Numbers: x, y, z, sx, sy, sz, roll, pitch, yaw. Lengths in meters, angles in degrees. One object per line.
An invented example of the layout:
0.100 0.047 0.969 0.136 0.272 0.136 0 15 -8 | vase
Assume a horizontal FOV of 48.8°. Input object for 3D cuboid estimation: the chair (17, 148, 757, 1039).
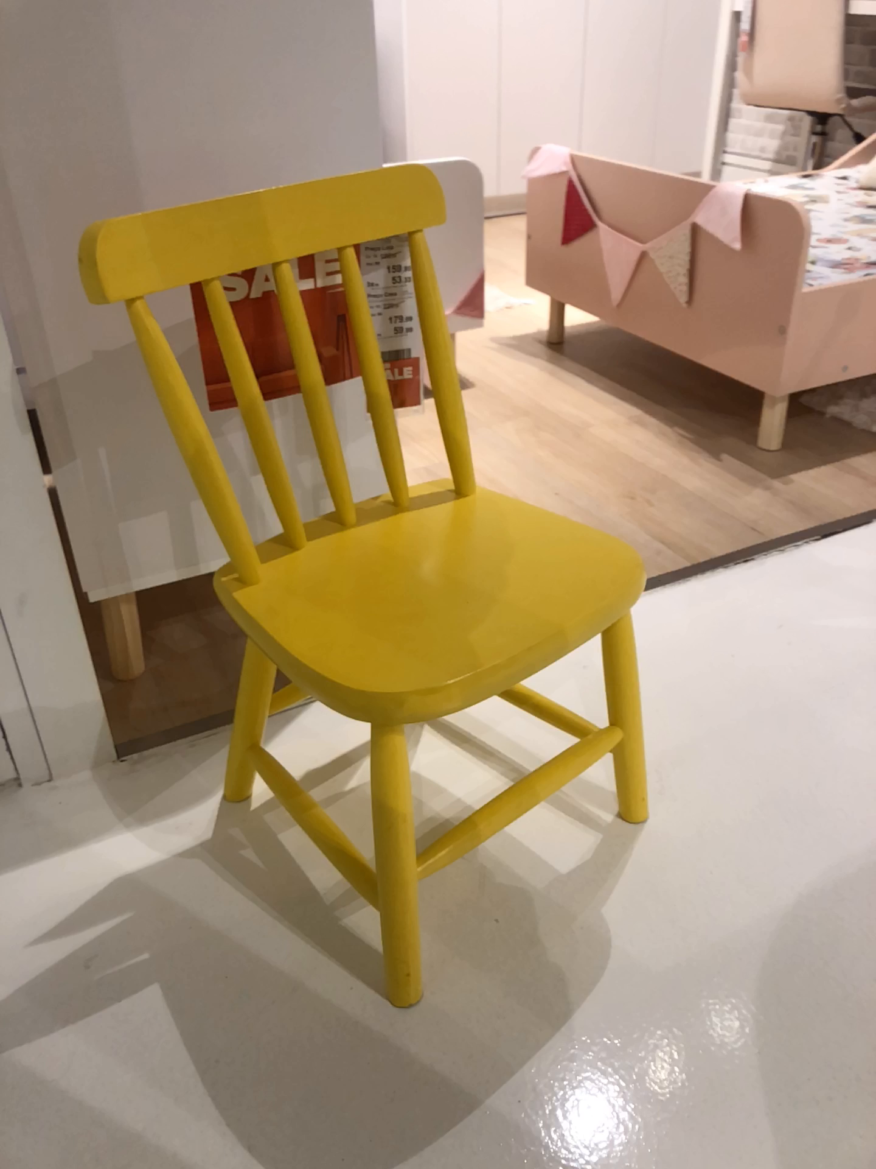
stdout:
-0.031 -0.028 0.840 0.381 0.575 0.372 -28 40 -36 | chair
